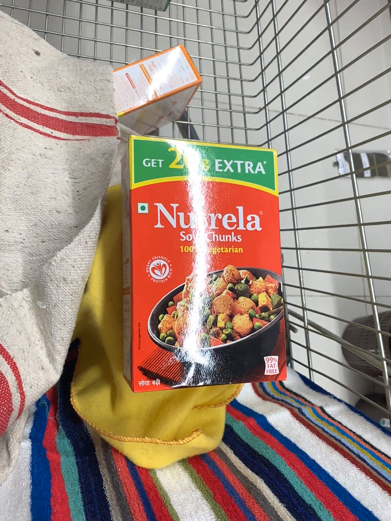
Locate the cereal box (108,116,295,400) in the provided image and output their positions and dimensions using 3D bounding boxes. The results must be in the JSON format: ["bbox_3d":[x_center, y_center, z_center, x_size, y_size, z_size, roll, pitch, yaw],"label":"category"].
[{"bbox_3d":[0.000,-0.001,0.299,0.120,0.060,0.180,0,83,-17],"label":"cereal box"}]
